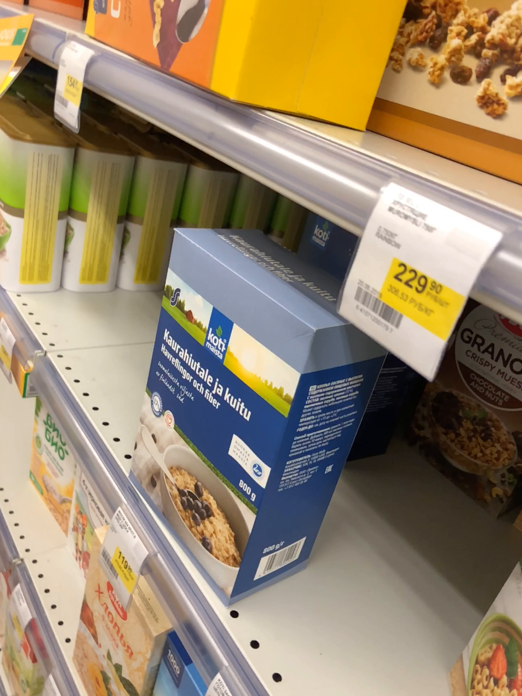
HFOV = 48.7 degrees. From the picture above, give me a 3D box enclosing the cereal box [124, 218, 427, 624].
[{"bbox_3d":[-0.008,0.043,0.400,0.080,0.219,0.151,-8,35,-41],"label":"cereal box"}]
